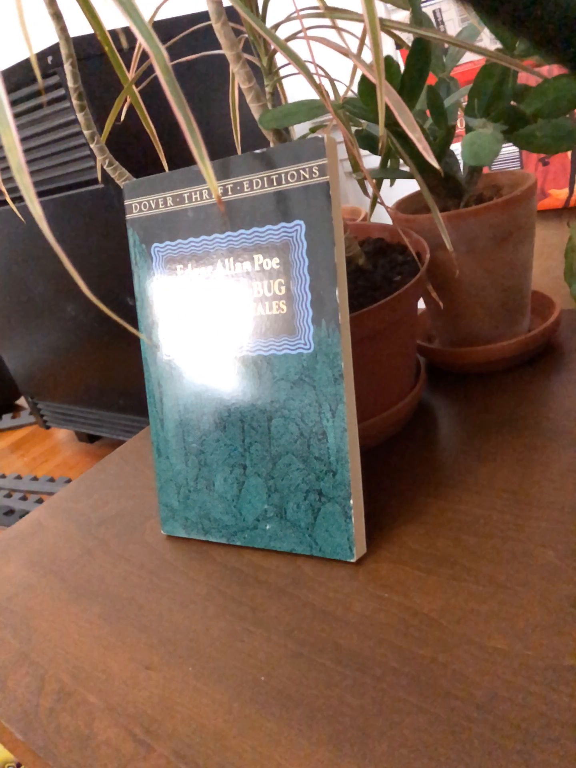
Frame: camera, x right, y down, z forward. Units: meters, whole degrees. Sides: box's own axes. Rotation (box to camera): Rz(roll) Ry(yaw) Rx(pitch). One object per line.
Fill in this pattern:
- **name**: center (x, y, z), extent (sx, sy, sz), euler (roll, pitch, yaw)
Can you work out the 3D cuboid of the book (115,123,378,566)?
- **book**: center (-0.027, -0.016, 0.346), extent (0.140, 0.210, 0.020), euler (-1, 6, 32)
